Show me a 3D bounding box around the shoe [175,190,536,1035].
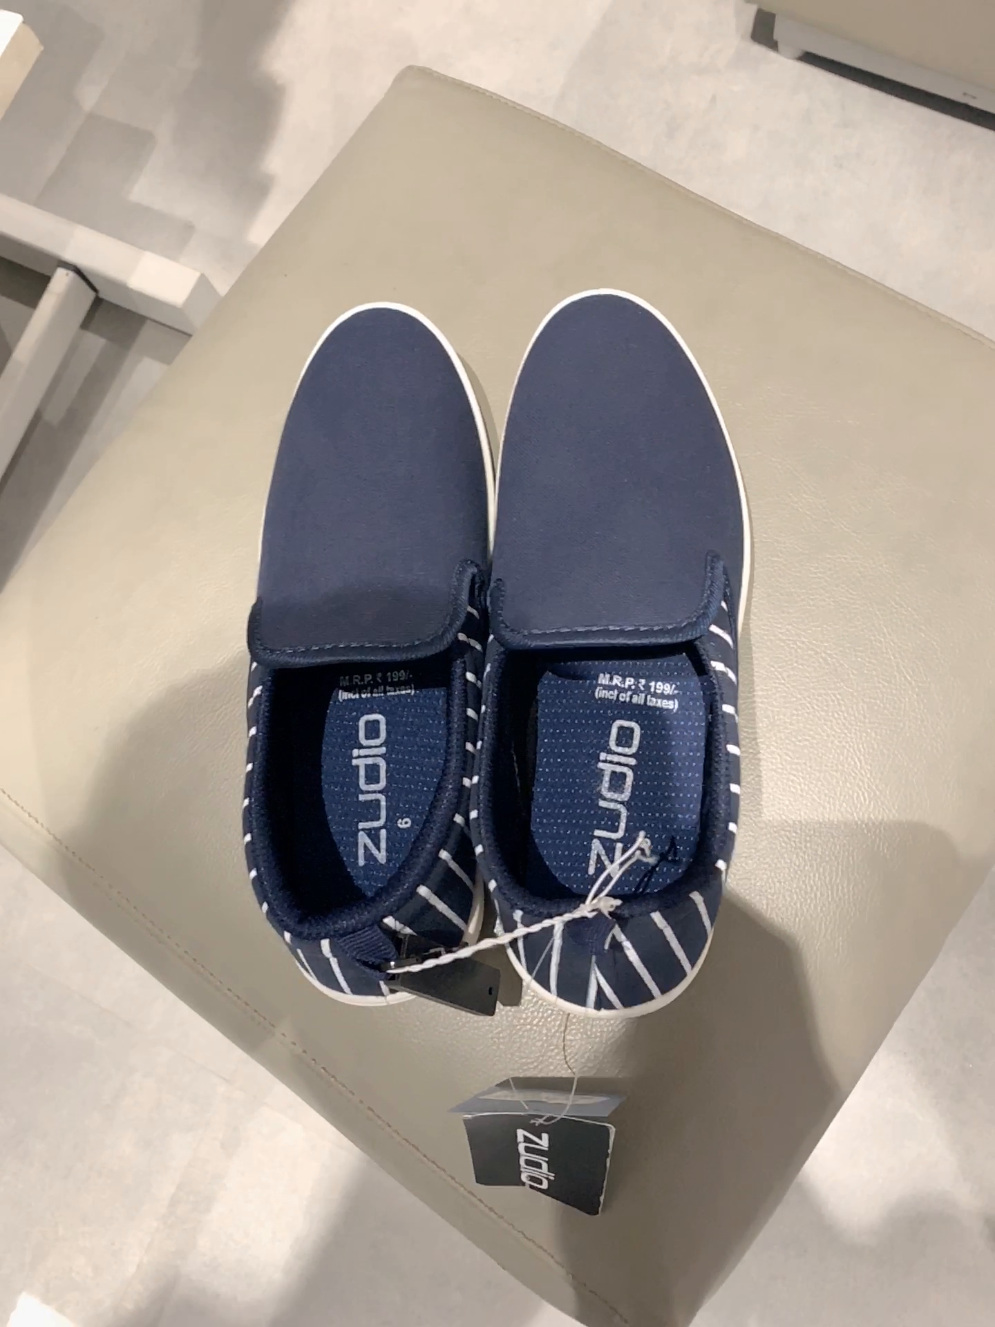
[{"bbox_3d":[-0.048,-0.017,0.378,0.100,0.090,0.280,-5,76,7],"label":"shoe"}]

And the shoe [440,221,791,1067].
[{"bbox_3d":[0.044,-0.009,0.367,0.100,0.090,0.270,0,77,9],"label":"shoe"}]
